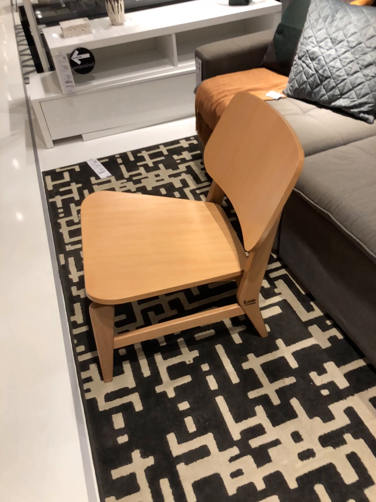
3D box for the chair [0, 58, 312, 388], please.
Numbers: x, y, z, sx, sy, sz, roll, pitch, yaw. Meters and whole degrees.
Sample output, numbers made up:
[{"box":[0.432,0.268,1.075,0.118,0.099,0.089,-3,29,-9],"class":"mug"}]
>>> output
[{"box":[-0.106,-0.110,1.258,0.650,0.626,0.644,-13,43,-7],"class":"chair"}]
